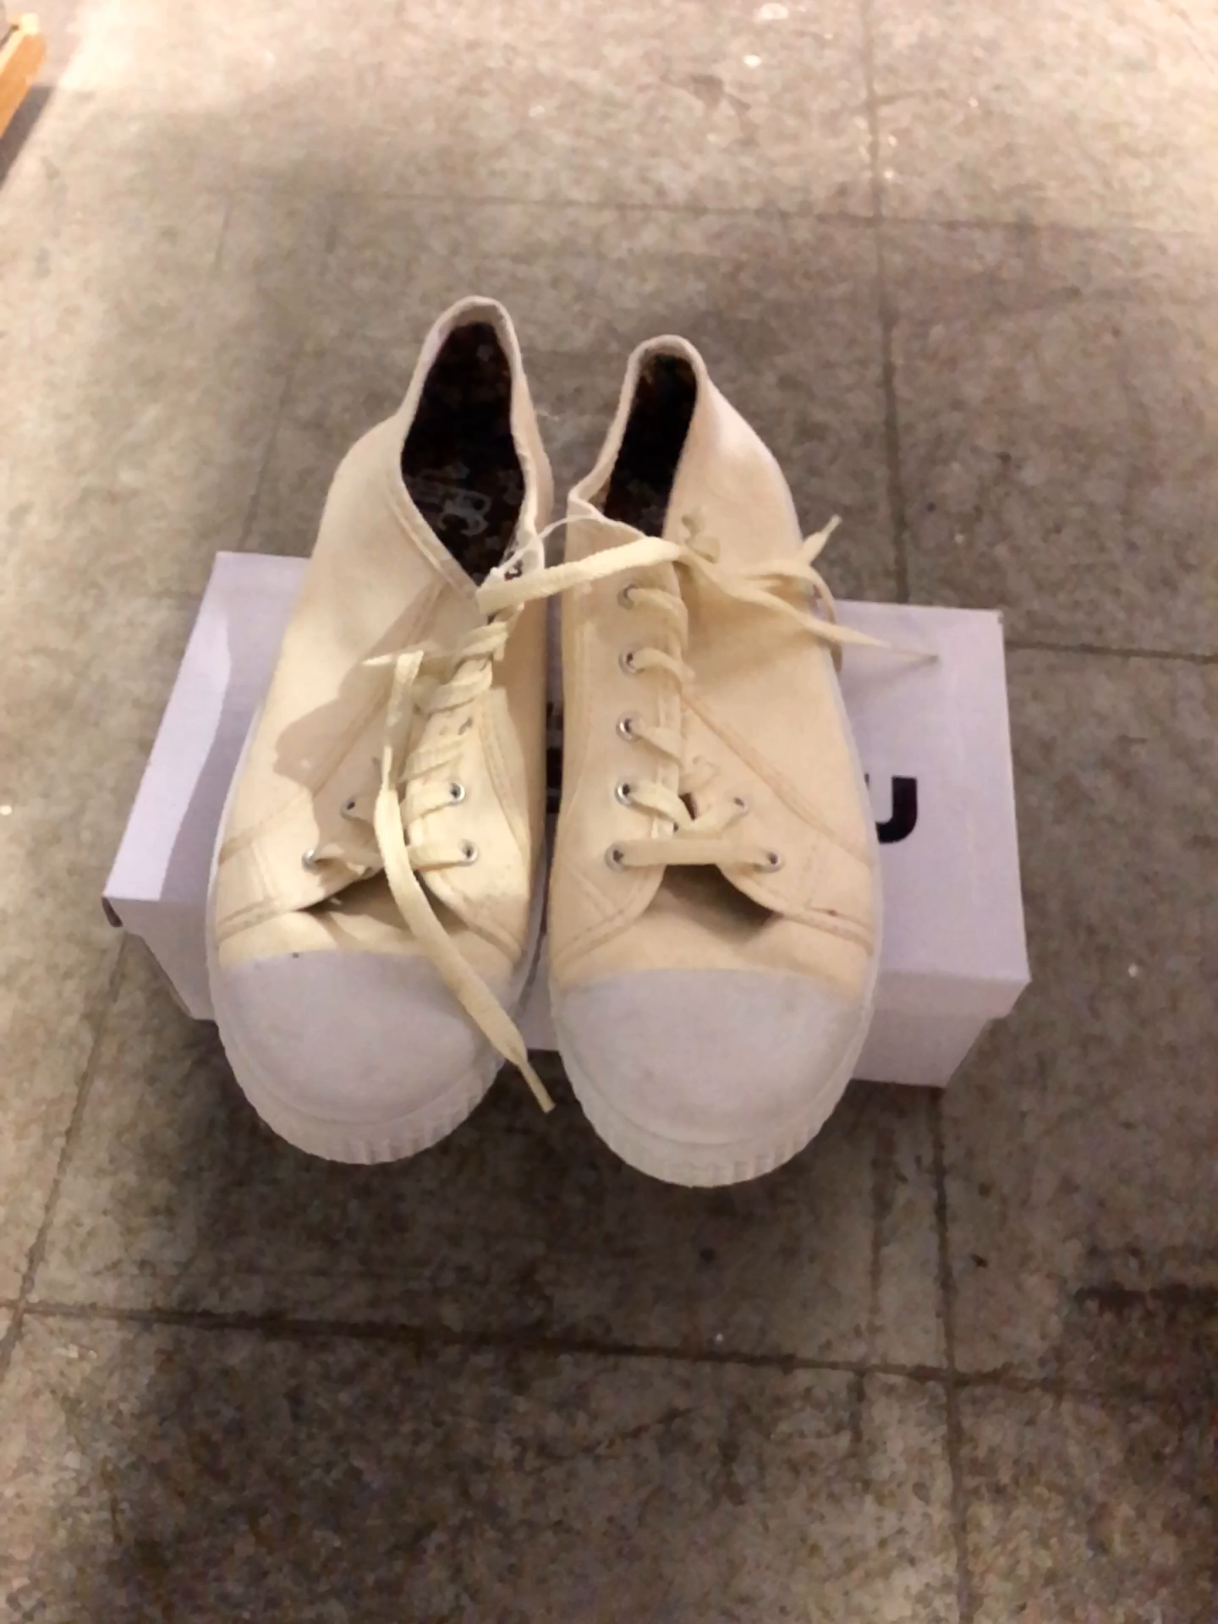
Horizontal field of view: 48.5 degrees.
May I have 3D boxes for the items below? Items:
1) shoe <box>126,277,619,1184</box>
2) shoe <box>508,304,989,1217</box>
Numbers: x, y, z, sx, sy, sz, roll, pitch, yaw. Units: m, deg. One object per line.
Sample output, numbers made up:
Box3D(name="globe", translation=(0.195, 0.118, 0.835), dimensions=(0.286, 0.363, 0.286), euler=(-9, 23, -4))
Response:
Box3D(name="shoe", translation=(-0.051, -0.036, 0.393), dimensions=(0.090, 0.080, 0.261), euler=(3, 58, 2))
Box3D(name="shoe", translation=(0.037, -0.026, 0.382), dimensions=(0.100, 0.080, 0.251), euler=(3, 58, 2))
